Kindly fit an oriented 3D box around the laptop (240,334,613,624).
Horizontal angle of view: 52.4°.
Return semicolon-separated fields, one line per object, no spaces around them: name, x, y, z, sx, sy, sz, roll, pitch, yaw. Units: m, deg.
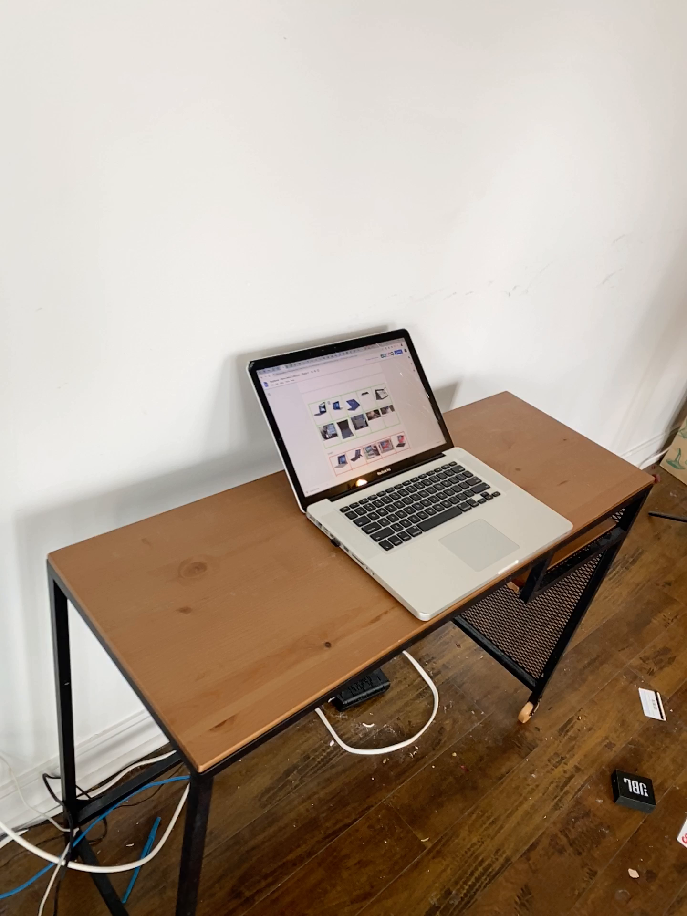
laptop;0.118;-0.008;1.105;0.369;0.151;0.440;-19;45;-39
